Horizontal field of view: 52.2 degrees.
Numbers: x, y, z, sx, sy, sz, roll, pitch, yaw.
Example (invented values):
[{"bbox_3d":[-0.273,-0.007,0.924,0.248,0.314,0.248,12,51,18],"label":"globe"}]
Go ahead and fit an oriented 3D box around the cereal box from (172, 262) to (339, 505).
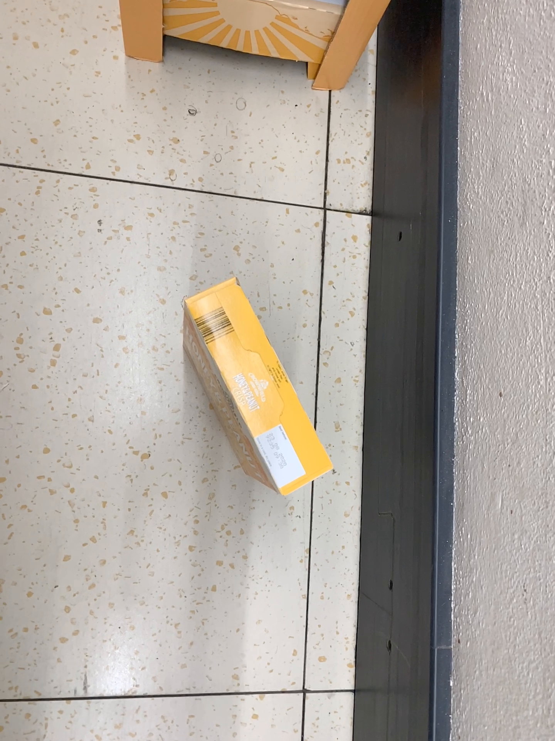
[{"bbox_3d":[-0.039,0.022,0.577,0.050,0.270,0.190,-27,89,-11],"label":"cereal box"}]
